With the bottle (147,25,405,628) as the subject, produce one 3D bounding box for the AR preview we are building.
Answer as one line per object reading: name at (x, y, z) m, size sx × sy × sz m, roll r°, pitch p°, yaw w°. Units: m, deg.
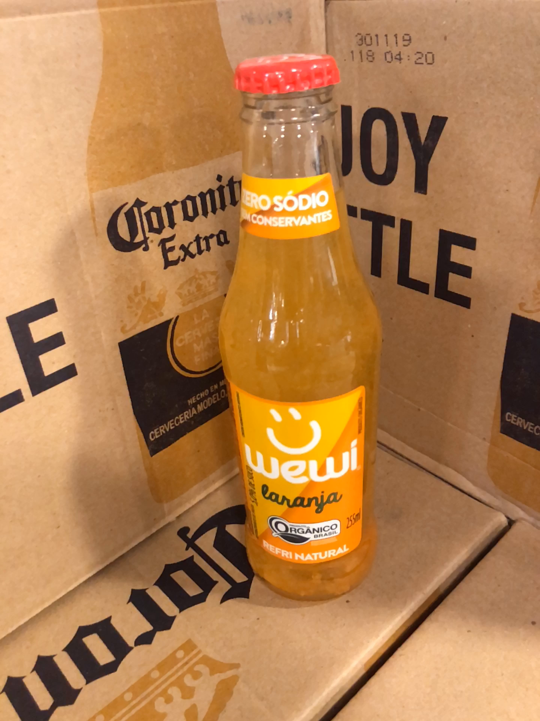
bottle at (0.011, 0.001, 0.218) m, size 0.060 × 0.208 × 0.060 m, roll -3°, pitch 31°, yaw 2°
